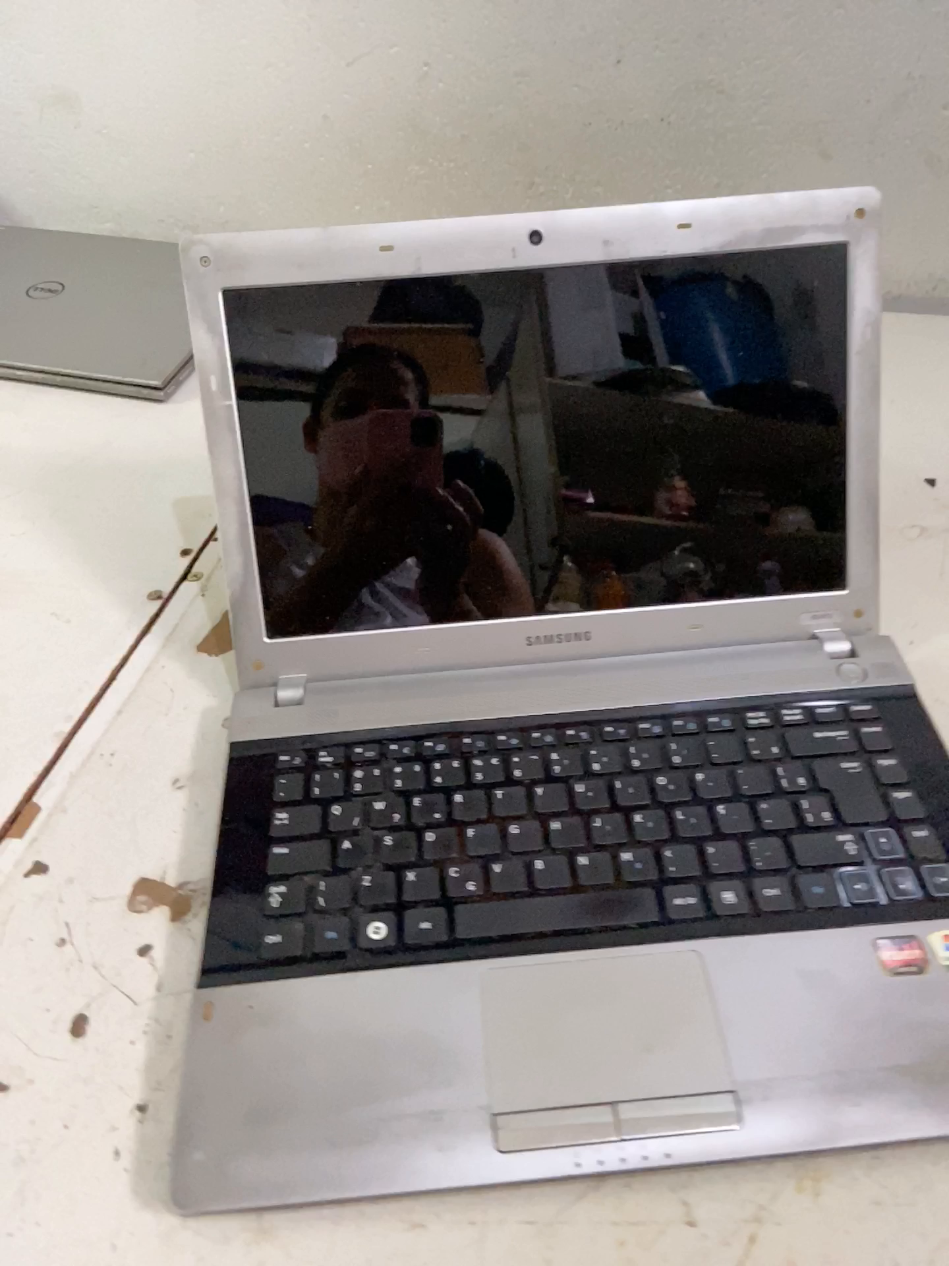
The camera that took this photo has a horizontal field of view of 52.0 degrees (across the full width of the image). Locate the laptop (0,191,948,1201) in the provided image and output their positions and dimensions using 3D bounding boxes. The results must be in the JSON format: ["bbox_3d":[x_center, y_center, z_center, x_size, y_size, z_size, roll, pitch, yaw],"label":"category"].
[{"bbox_3d":[0.047,-0.010,0.406,0.342,0.180,0.368,-5,45,-1],"label":"laptop"}]
